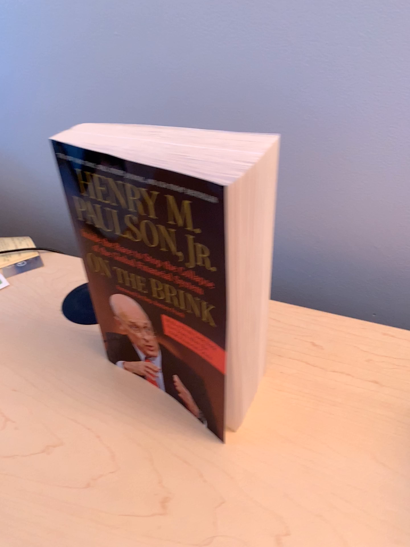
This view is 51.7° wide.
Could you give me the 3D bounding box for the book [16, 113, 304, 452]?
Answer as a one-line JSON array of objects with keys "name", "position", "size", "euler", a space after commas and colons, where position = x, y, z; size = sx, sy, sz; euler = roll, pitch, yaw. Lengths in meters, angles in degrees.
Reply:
[{"name": "book", "position": [-0.025, 0.008, 0.336], "size": [0.168, 0.228, 0.082], "euler": [15, 38, 24]}]
